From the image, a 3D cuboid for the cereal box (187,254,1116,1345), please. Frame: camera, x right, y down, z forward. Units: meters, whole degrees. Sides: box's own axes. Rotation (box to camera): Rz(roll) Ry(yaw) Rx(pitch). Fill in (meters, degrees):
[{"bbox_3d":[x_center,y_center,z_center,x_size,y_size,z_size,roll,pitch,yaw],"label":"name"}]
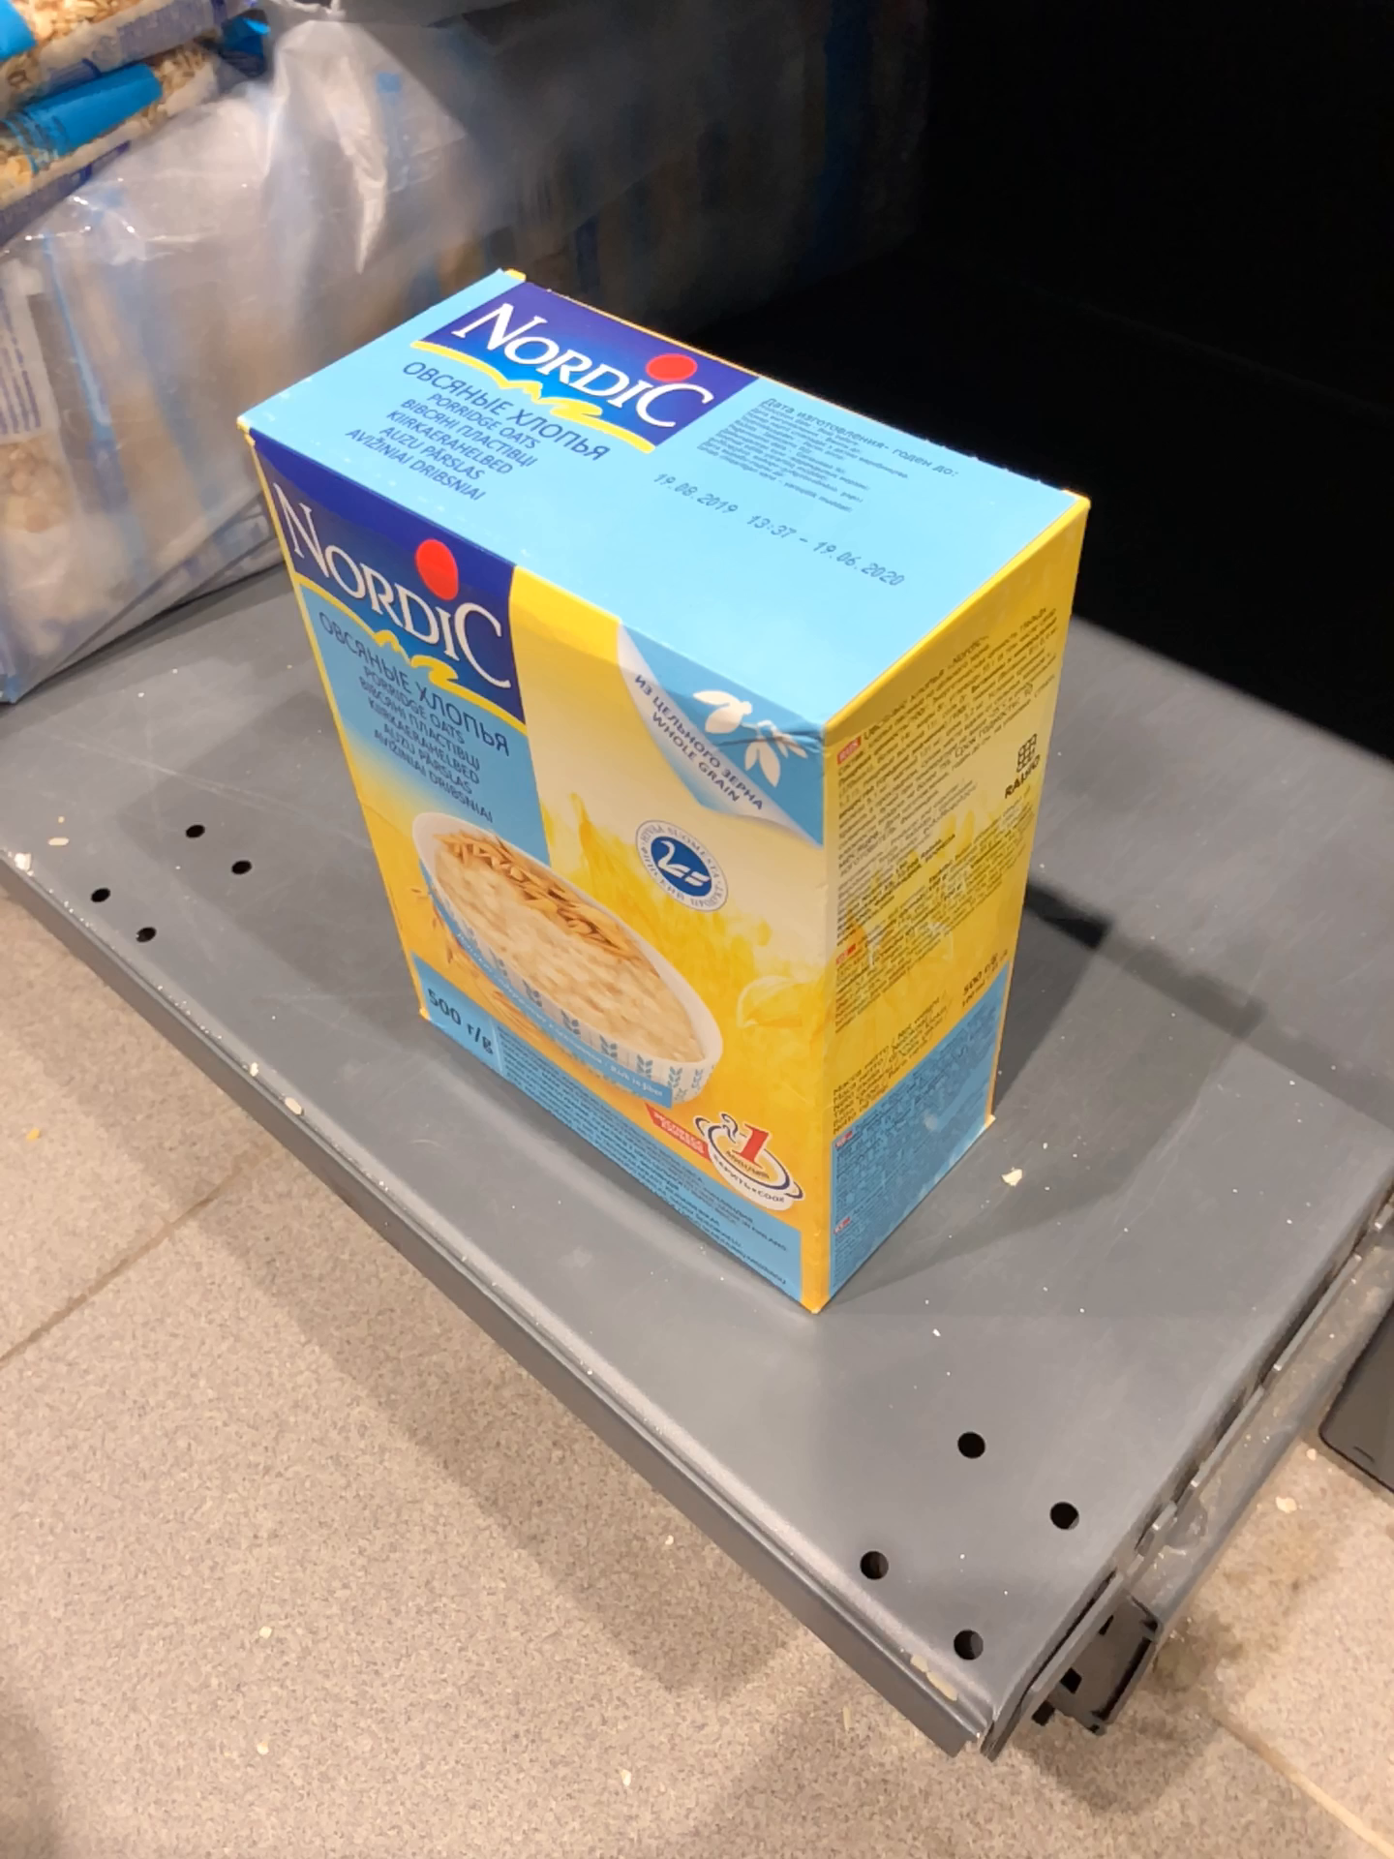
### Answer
[{"bbox_3d":[-0.010,-0.025,0.339,0.150,0.179,0.080,33,57,28],"label":"cereal box"}]
